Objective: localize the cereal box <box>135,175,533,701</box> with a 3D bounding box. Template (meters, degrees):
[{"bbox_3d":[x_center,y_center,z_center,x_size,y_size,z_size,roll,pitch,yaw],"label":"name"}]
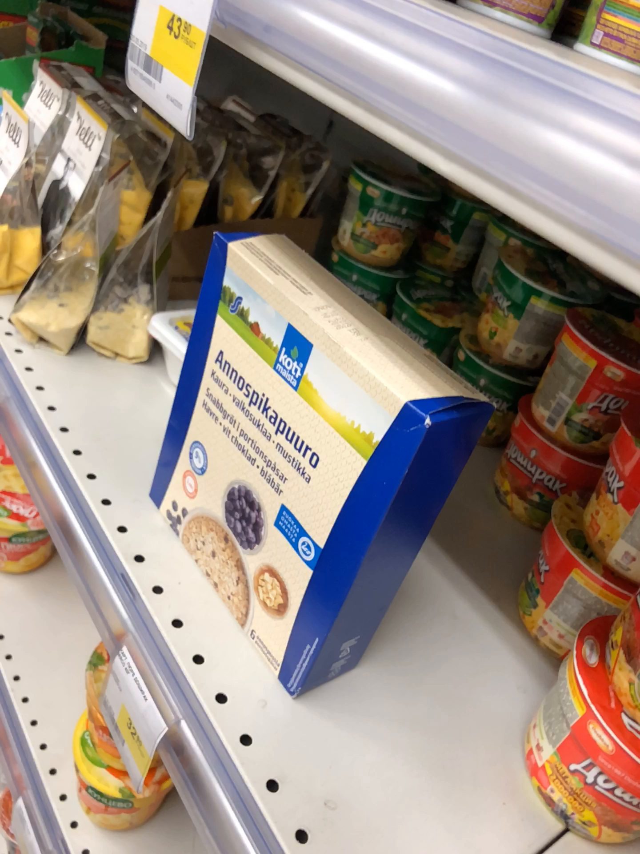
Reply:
[{"bbox_3d":[-0.015,0.001,0.344,0.050,0.179,0.171,-11,43,-40],"label":"cereal box"}]
